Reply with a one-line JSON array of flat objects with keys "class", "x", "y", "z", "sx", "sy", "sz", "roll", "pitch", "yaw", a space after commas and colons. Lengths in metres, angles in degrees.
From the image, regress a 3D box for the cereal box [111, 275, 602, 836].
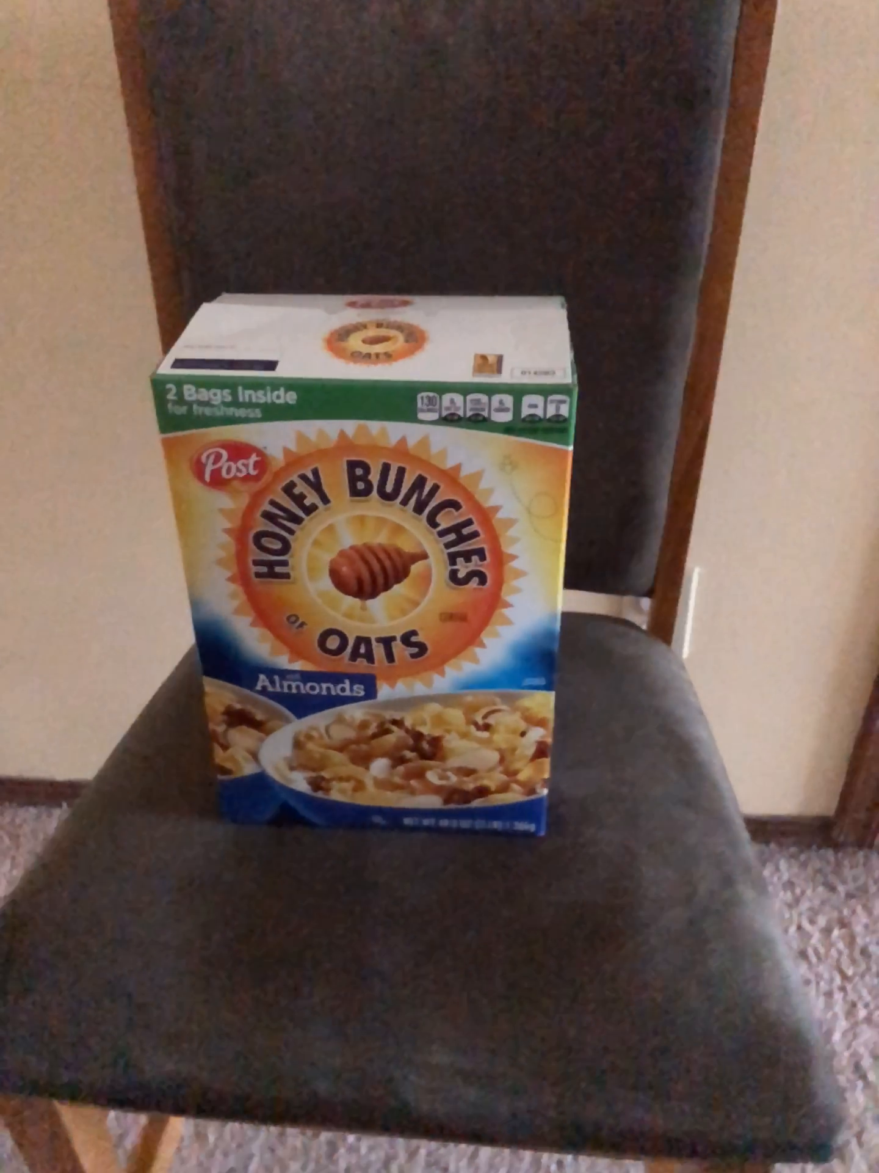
[{"class": "cereal box", "x": -0.029, "y": -0.020, "z": 0.570, "sx": 0.220, "sy": 0.279, "sz": 0.160, "roll": 2, "pitch": 31, "yaw": 5}]
